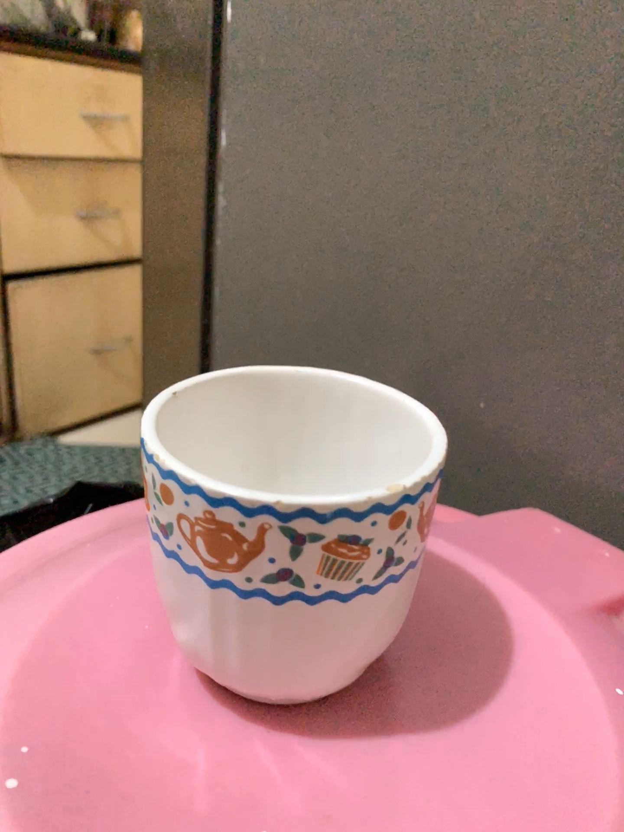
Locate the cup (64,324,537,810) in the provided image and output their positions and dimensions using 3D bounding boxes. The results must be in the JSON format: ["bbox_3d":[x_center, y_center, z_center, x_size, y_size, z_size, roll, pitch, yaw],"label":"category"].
[{"bbox_3d":[-0.005,0.022,0.156,0.076,0.062,0.072,5,22,-2],"label":"cup"}]
